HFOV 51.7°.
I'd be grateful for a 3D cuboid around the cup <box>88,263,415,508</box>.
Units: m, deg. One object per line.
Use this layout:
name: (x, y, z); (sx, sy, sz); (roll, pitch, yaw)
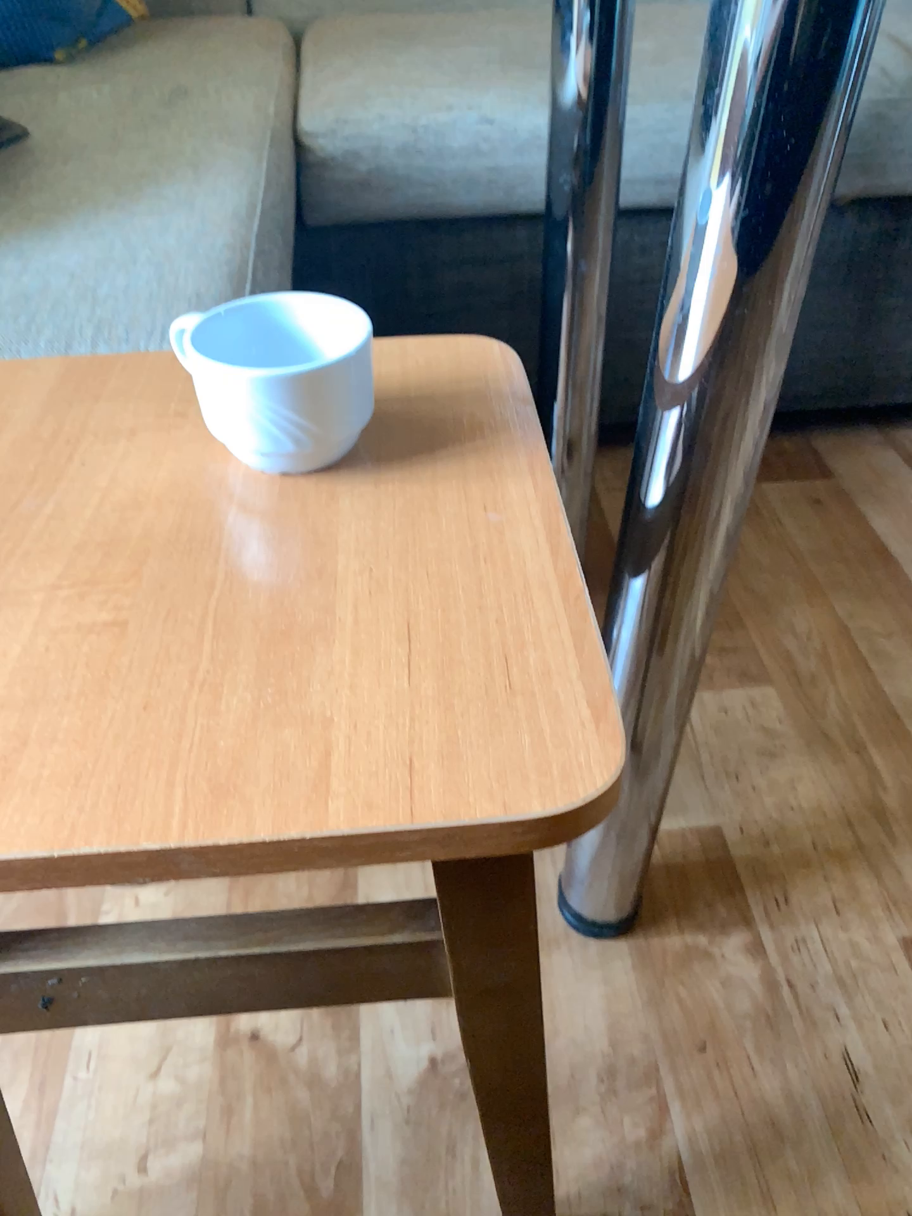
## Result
cup: (-0.082, -0.097, 0.394); (0.100, 0.050, 0.080); (24, 46, 27)
